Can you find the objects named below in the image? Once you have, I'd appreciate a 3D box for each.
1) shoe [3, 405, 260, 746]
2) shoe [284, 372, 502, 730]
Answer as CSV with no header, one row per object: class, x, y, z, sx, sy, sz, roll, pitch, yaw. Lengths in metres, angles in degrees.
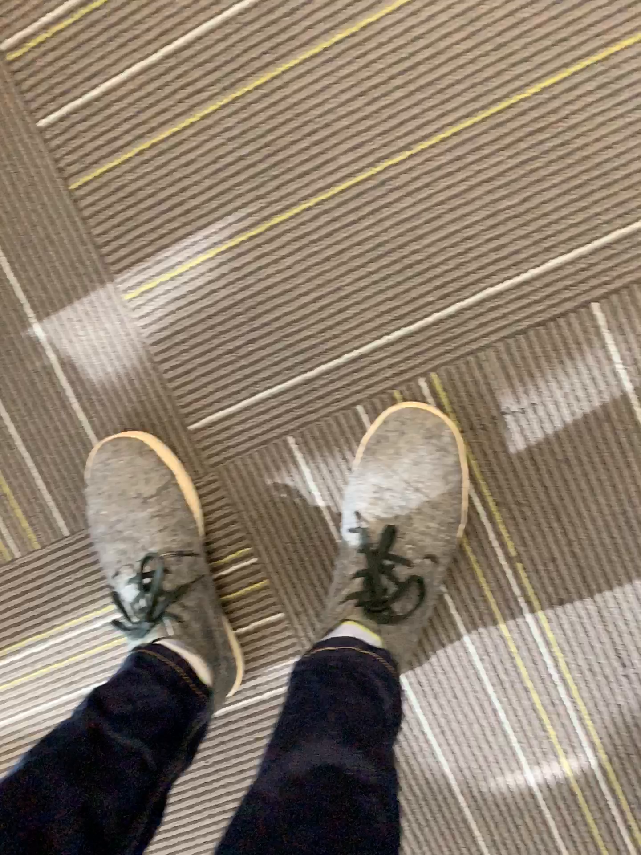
shoe,-0.180,0.146,0.658,0.134,0.087,0.301,-17,97,11
shoe,0.063,0.112,0.618,0.134,0.087,0.299,12,103,6
